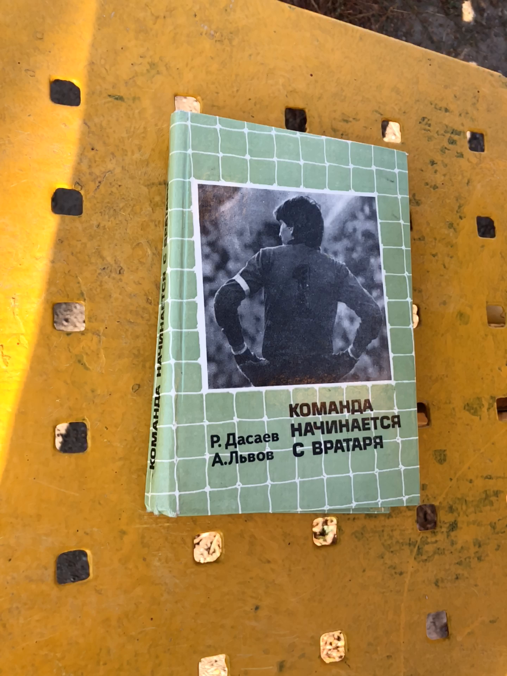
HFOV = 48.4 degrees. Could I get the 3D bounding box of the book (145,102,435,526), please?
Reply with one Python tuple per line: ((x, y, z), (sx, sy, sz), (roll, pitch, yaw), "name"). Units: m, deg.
((0.017, -0.009, 0.247), (0.117, 0.030, 0.164), (3, 80, -18), "book")
